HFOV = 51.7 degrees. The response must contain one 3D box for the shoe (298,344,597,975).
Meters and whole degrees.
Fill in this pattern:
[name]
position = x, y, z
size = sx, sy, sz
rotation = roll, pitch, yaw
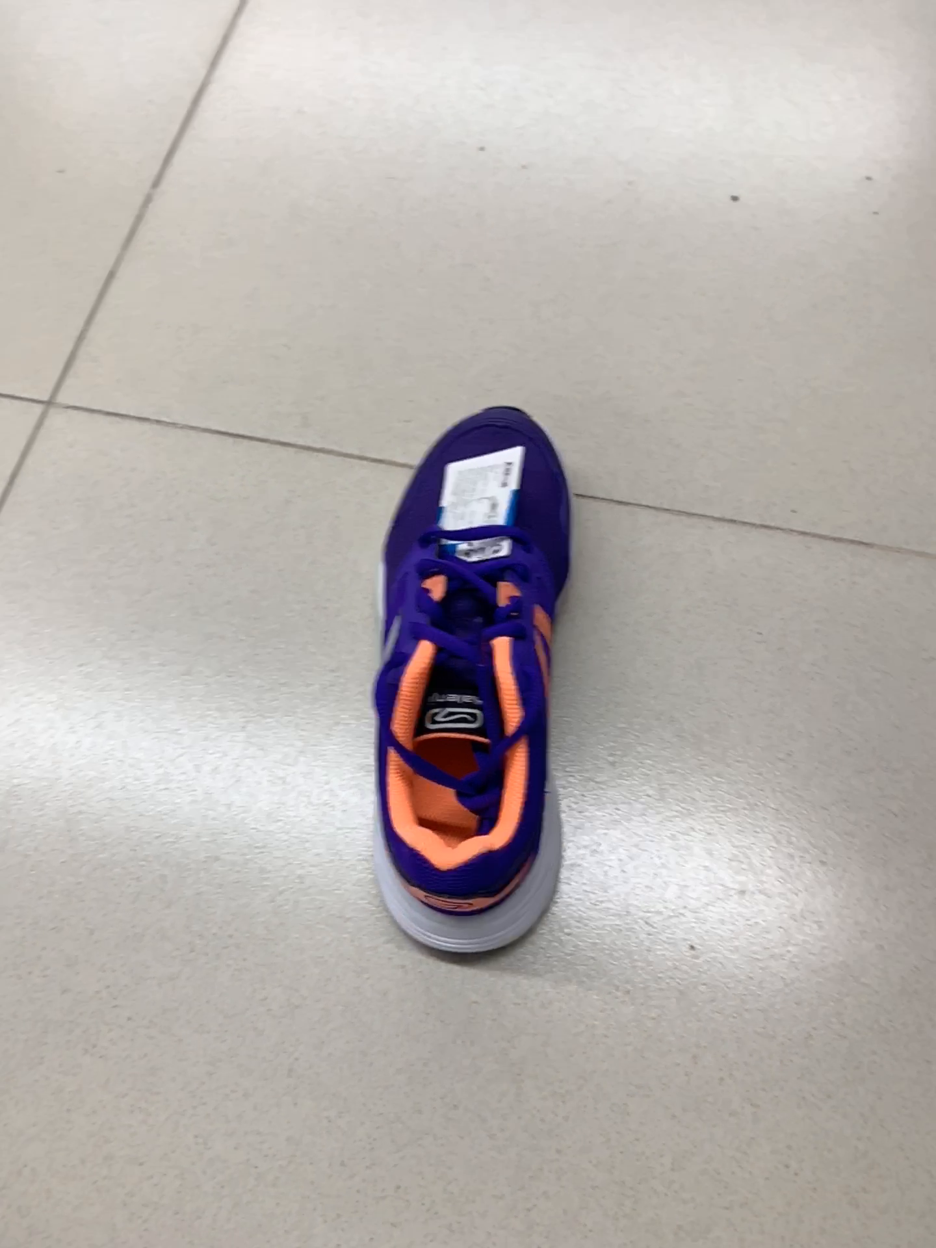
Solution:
[shoe]
position = 0.002, 0.013, 0.417
size = 0.100, 0.100, 0.250
rotation = 2, 66, 4
